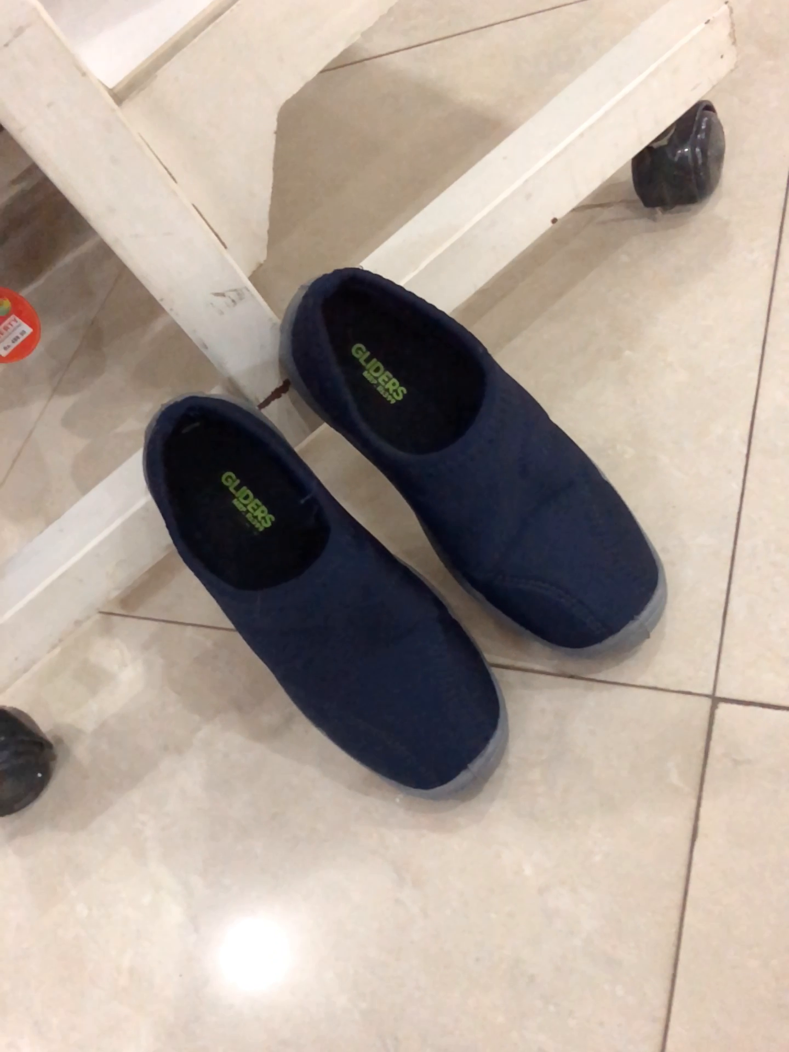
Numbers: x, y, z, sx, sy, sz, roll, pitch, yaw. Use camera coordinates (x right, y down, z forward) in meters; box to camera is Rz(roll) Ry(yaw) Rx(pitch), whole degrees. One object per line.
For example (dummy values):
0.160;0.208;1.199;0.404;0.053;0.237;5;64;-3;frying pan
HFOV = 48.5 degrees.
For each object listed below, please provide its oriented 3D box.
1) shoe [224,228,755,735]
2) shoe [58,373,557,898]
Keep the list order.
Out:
0.082;-0.036;0.898;0.186;0.207;0.490;-44;79;-5;shoe
-0.082;0.100;0.843;0.160;0.200;0.461;-42;80;-9;shoe
